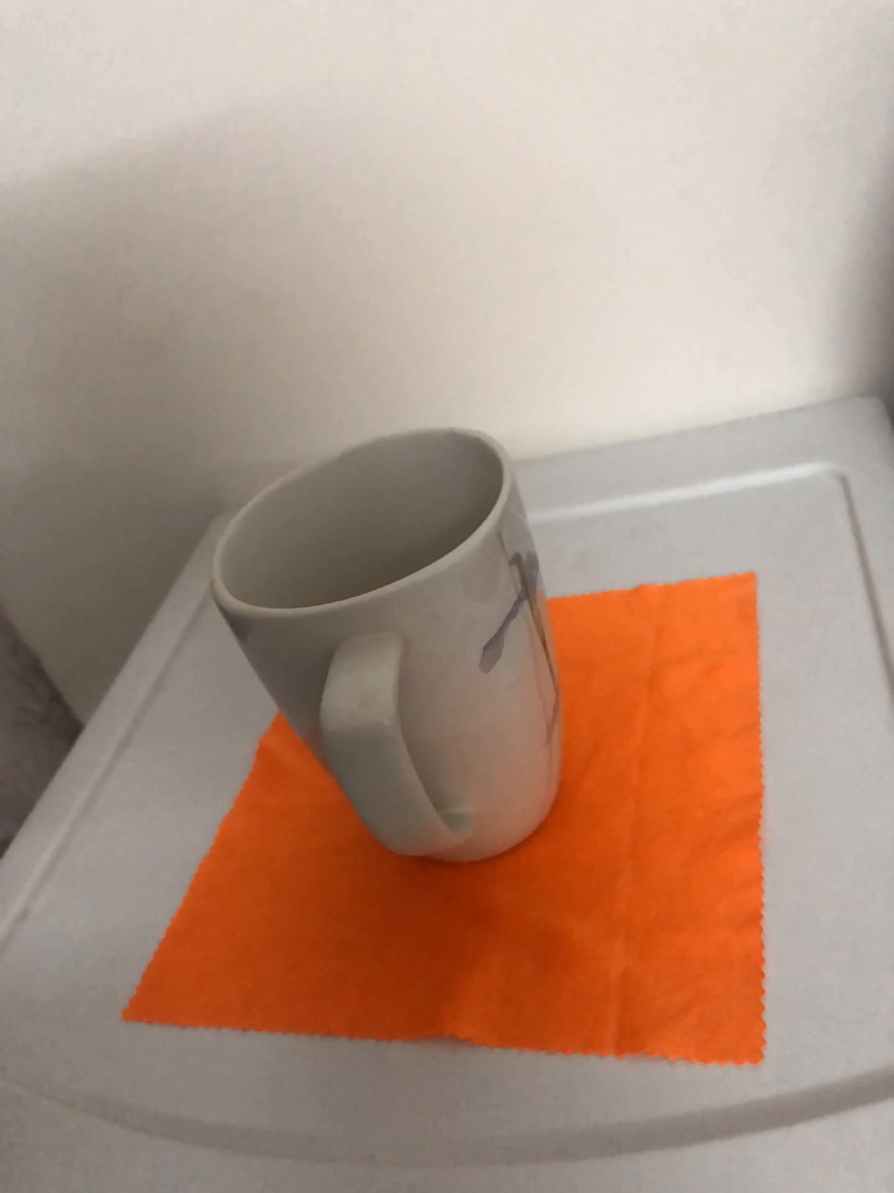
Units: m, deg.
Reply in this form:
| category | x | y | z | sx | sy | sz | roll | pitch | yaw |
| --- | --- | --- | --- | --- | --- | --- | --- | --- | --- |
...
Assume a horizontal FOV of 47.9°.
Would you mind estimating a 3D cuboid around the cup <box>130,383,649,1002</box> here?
| category | x | y | z | sx | sy | sz | roll | pitch | yaw |
| --- | --- | --- | --- | --- | --- | --- | --- | --- | --- |
| cup | -0.005 | 0.023 | 0.276 | 0.090 | 0.100 | 0.120 | -12 | 34 | 13 |
